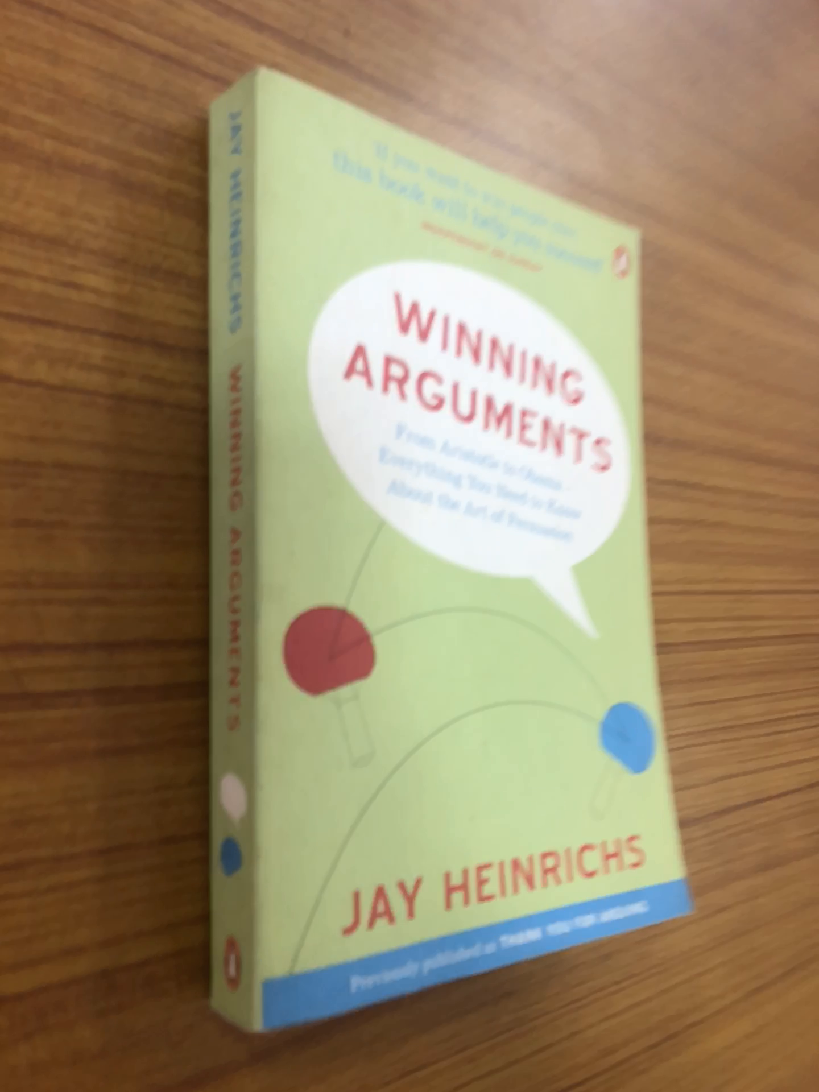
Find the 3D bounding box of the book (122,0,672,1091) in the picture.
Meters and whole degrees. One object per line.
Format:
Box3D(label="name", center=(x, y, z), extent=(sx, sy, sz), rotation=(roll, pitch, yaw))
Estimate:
Box3D(label="book", center=(0.006, 0.000, 0.224), extent=(0.141, 0.030, 0.210), rotation=(5, 80, -39))
